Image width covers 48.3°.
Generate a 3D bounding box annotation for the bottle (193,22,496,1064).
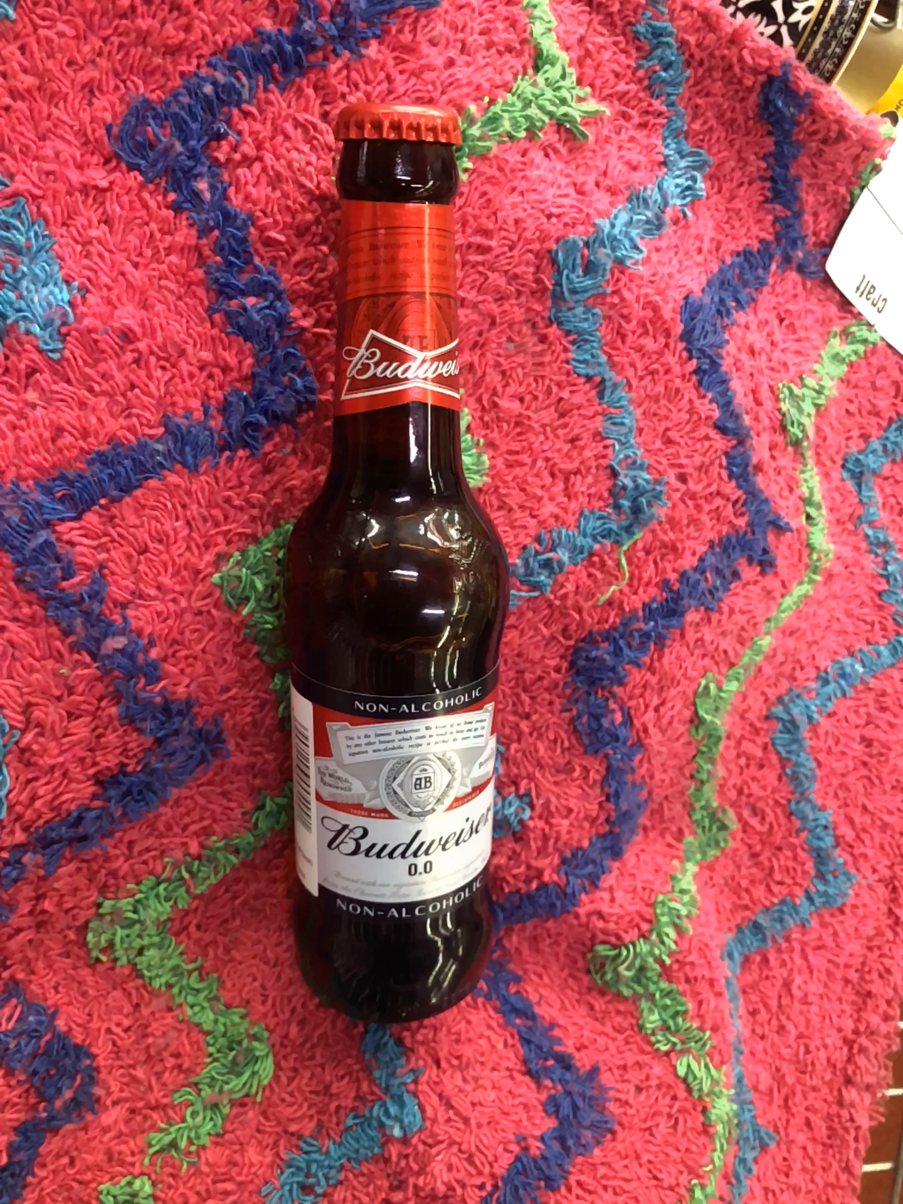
[{"bbox_3d":[-0.026,-0.005,0.268,0.060,0.050,0.250,-6,107,-18],"label":"bottle"}]
